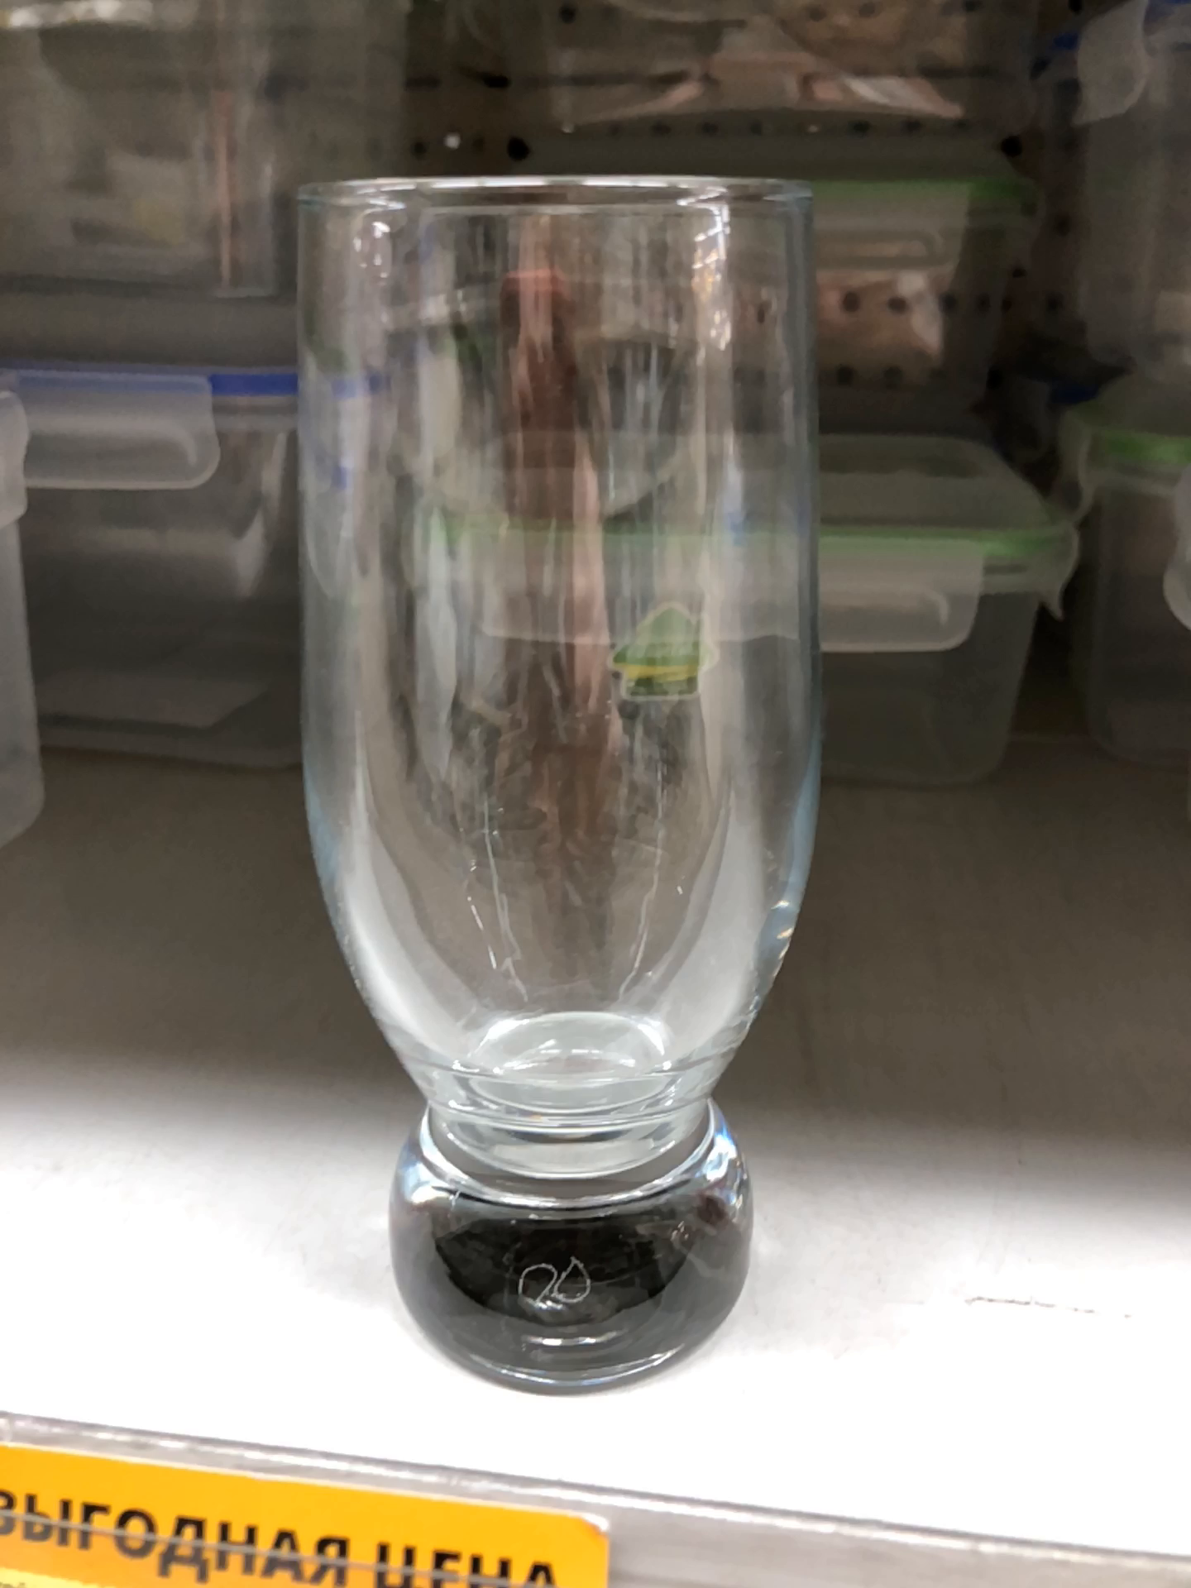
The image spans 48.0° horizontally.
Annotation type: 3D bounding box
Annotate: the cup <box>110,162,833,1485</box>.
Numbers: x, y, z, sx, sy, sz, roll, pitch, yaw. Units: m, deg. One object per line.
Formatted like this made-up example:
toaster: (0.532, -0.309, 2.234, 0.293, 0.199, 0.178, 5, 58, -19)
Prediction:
cup: (-0.007, 0.001, 0.172, 0.057, 0.146, 0.069, 6, 24, 13)
